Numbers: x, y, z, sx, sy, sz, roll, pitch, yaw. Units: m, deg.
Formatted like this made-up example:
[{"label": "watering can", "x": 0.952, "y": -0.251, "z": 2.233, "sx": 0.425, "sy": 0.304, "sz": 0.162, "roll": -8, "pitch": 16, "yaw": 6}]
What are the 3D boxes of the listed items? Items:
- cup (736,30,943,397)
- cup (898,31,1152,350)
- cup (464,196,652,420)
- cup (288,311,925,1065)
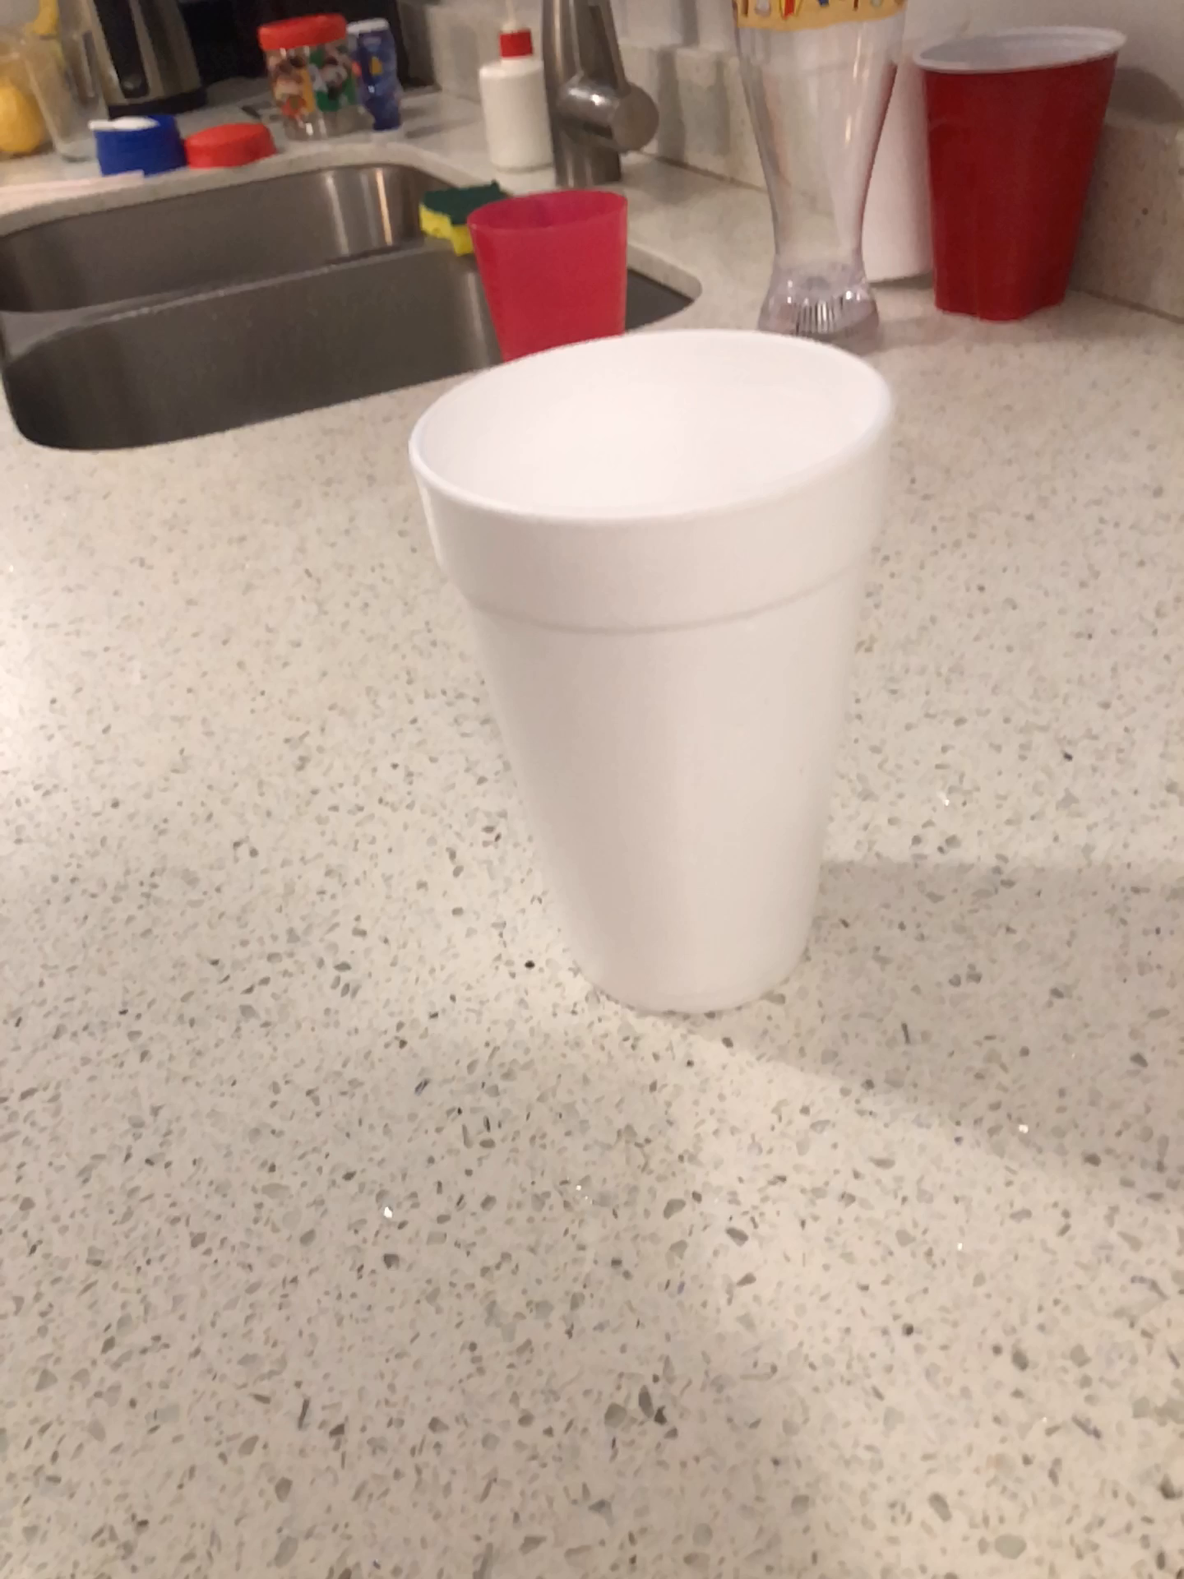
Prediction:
[{"label": "cup", "x": 0.196, "y": -0.448, "z": 1.033, "sx": 0.129, "sy": 0.244, "sz": 0.085, "roll": 12, "pitch": 40, "yaw": 26}, {"label": "cup", "x": 0.300, "y": -0.419, "z": 0.920, "sx": 0.129, "sy": 0.174, "sz": 0.121, "roll": -5, "pitch": 35, "yaw": 4}, {"label": "cup", "x": -0.021, "y": -0.364, "z": 0.990, "sx": 0.104, "sy": 0.135, "sz": 0.097, "roll": -4, "pitch": 35, "yaw": 3}, {"label": "cup", "x": 0.012, "y": -0.026, "z": 0.278, "sx": 0.088, "sy": 0.118, "sz": 0.090, "roll": -5, "pitch": 35, "yaw": 4}]
